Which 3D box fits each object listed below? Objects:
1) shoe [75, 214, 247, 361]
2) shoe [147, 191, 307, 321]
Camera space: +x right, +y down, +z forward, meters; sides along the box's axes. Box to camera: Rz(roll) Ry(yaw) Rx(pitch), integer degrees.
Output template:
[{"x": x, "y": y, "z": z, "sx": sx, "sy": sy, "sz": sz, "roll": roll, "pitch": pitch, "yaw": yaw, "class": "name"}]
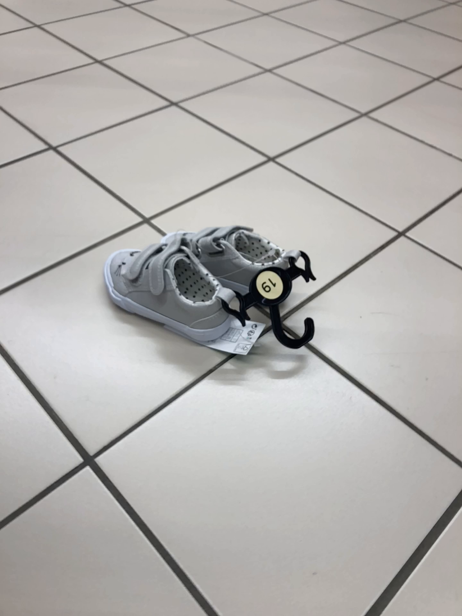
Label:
[{"x": -0.062, "y": -0.022, "z": 0.459, "sx": 0.138, "sy": 0.053, "sz": 0.064, "roll": 28, "pitch": 51, "yaw": 21, "class": "shoe"}, {"x": -0.006, "y": -0.052, "z": 0.490, "sx": 0.138, "sy": 0.053, "sz": 0.059, "roll": 26, "pitch": 50, "yaw": 20, "class": "shoe"}]
